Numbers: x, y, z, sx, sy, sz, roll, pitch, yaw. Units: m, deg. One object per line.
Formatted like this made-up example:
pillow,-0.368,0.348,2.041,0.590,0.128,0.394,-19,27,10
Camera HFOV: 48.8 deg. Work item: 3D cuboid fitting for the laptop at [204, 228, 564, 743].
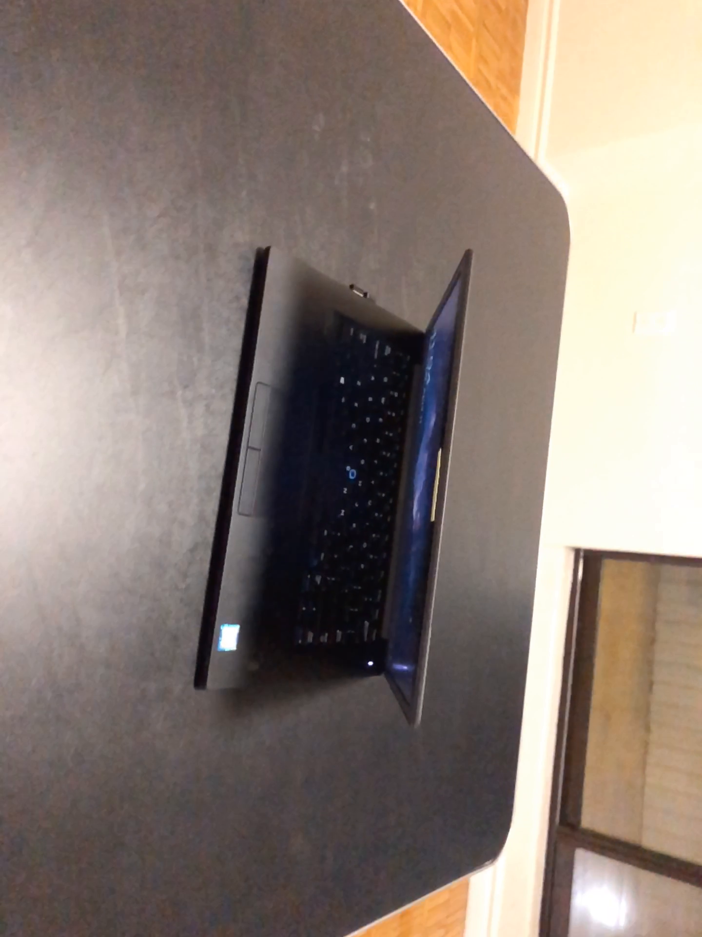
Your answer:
laptop,0.041,0.018,0.602,0.221,0.142,0.318,16,78,-52
